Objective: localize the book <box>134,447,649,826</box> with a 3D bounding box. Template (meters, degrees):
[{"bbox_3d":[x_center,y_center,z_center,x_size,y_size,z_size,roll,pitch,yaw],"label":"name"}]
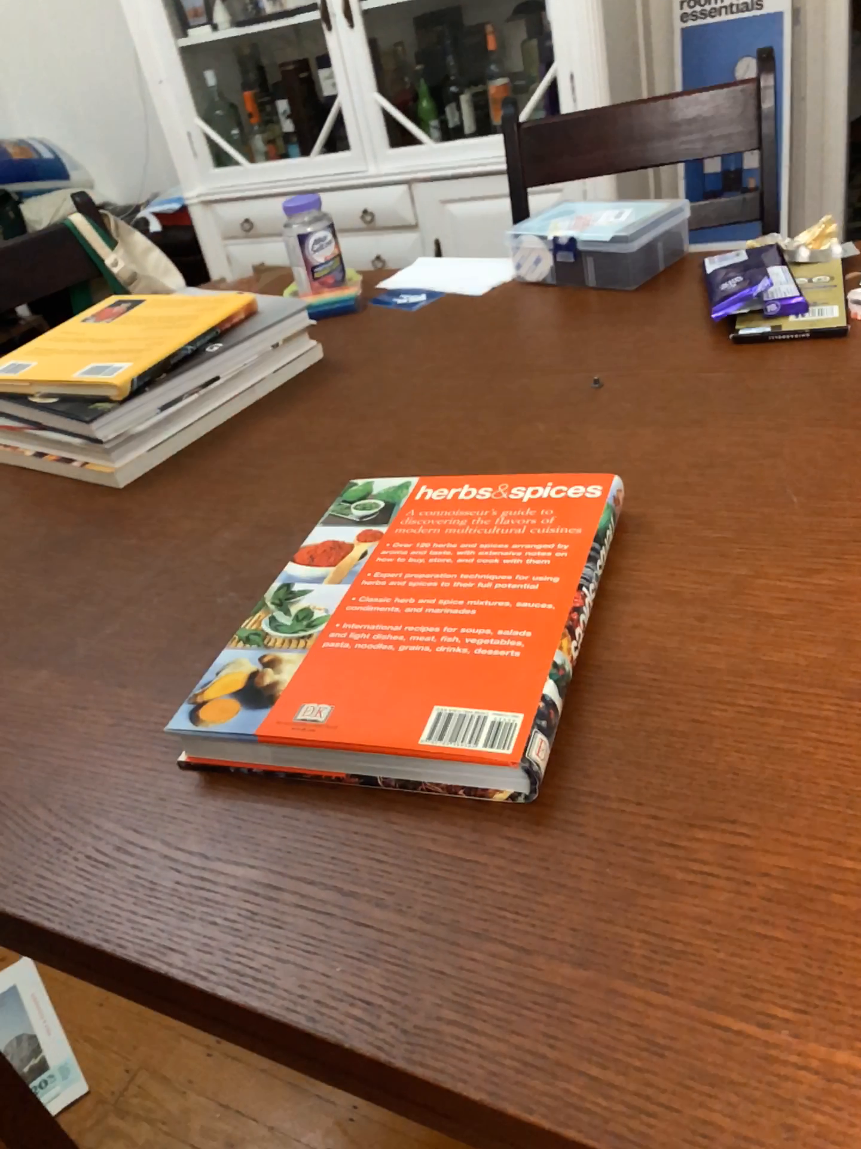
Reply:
[{"bbox_3d":[-0.002,0.012,0.544,0.210,0.040,0.271,1,36,22],"label":"book"}]
